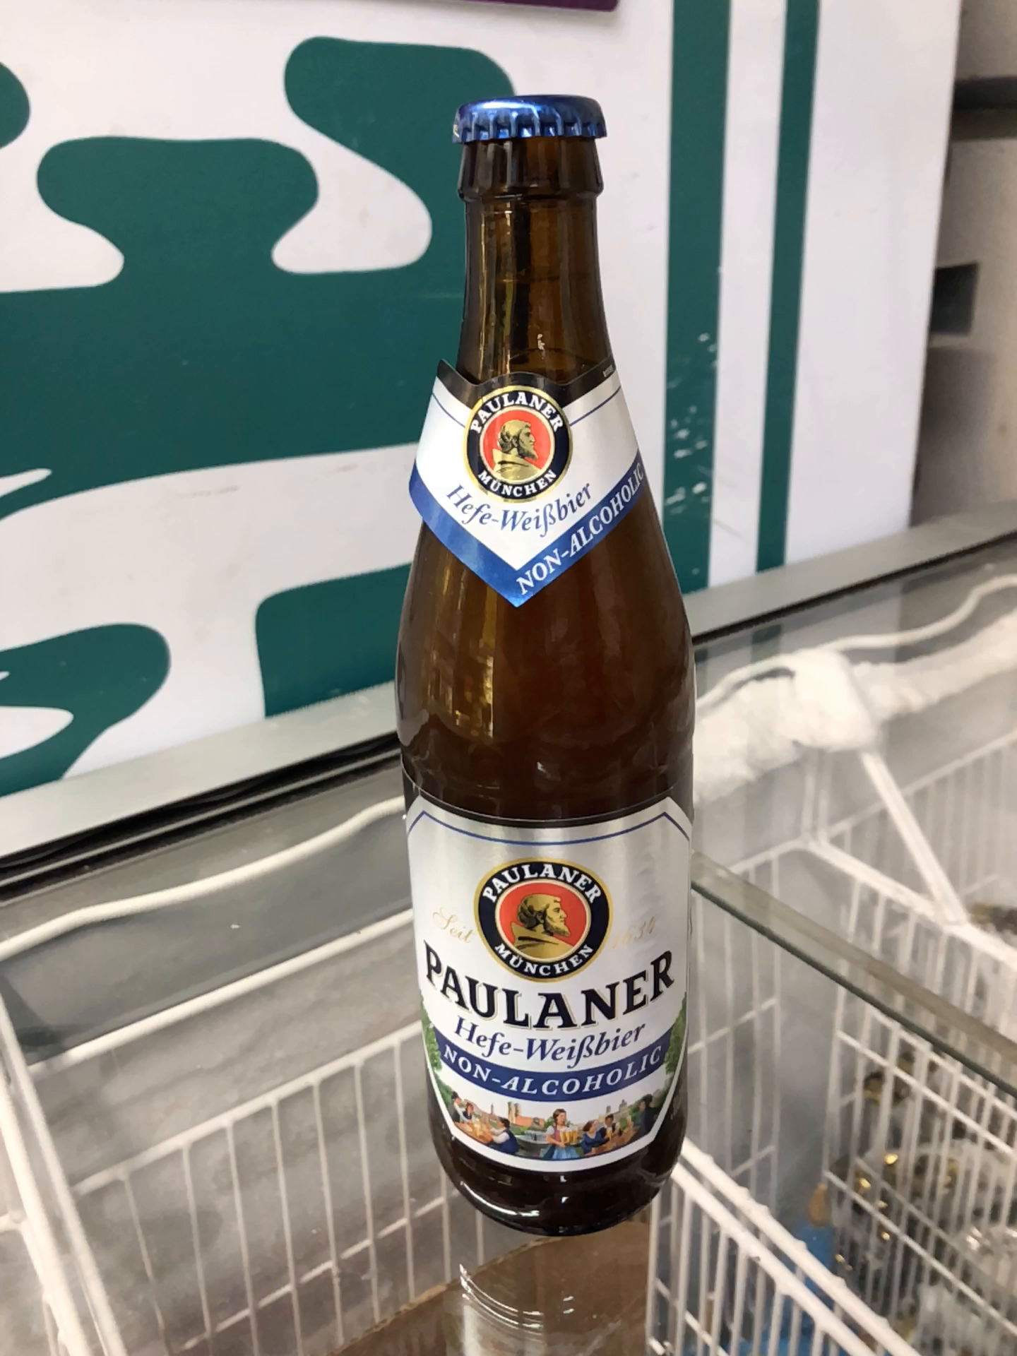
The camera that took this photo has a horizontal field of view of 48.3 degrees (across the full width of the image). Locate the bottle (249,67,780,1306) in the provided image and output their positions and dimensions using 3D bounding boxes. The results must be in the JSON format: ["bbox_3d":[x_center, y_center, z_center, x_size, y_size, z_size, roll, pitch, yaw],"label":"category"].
[{"bbox_3d":[0.009,0.012,0.248,0.080,0.248,0.070,2,23,9],"label":"bottle"}]
